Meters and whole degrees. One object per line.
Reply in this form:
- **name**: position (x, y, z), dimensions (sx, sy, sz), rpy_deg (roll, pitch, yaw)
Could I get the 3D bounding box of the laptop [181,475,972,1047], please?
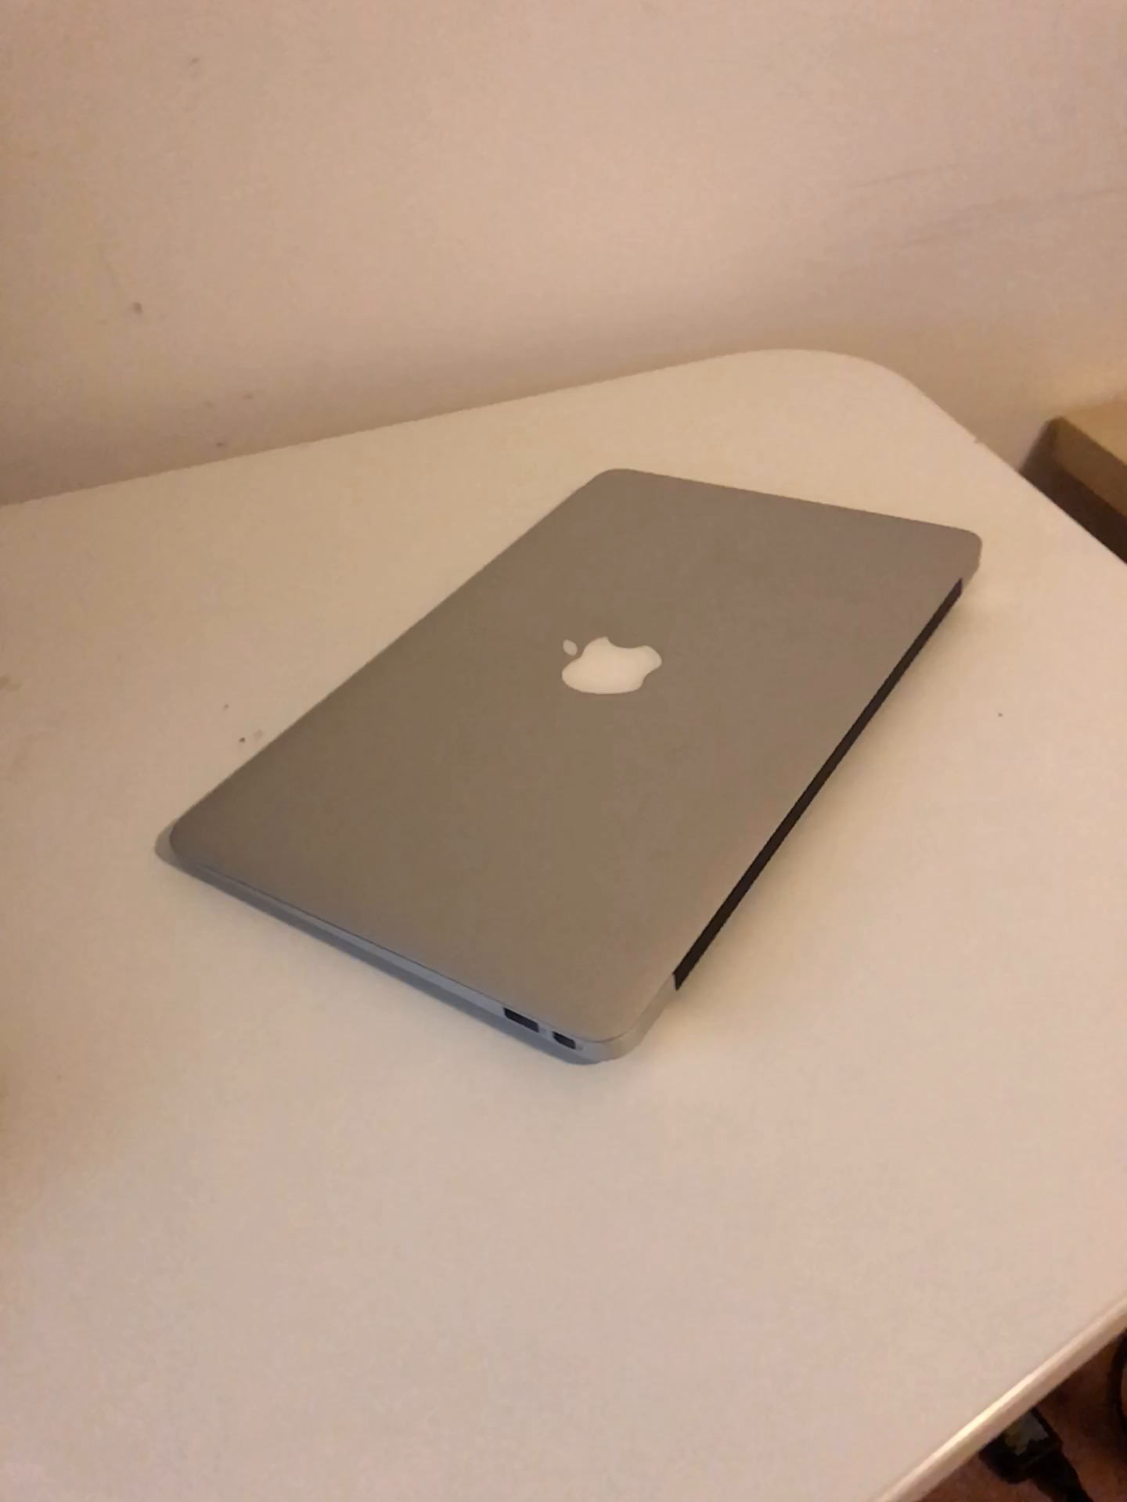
- **laptop**: position (0.020, -0.027, 0.474), dimensions (0.178, 0.004, 0.291), rpy_deg (18, 45, 29)
